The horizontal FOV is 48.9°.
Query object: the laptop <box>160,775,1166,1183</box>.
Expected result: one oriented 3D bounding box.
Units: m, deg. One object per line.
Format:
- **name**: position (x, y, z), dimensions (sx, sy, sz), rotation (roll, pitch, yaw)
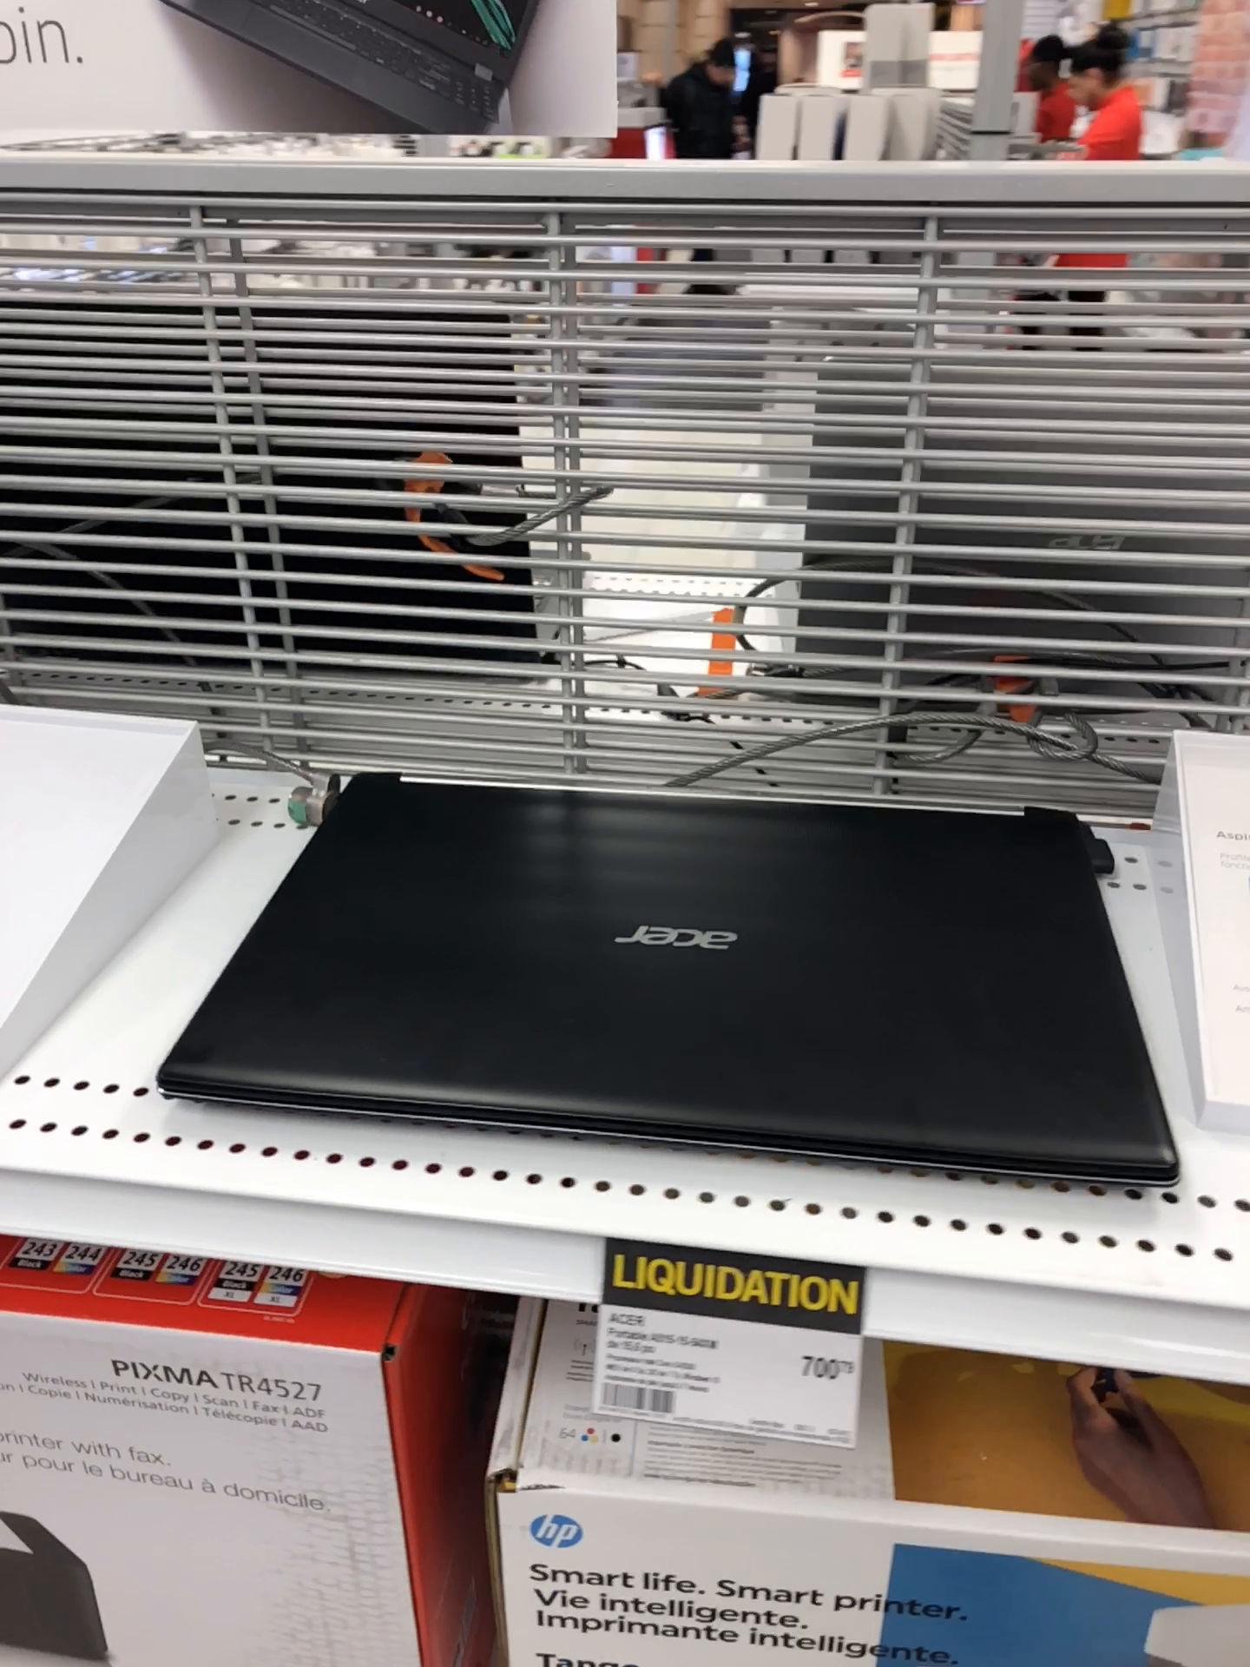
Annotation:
- **laptop**: position (0.023, 0.046, 0.590), dimensions (0.361, 0.012, 0.228), rotation (4, 32, 7)
